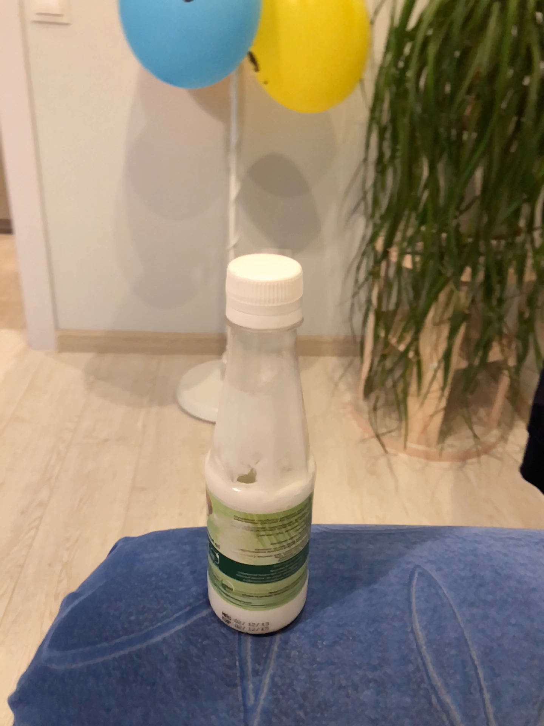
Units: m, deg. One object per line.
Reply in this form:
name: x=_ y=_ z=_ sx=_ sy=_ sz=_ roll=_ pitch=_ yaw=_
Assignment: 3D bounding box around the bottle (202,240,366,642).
bottle: x=-0.001 y=0.041 z=0.273 sx=0.054 sy=0.183 sz=0.051 roll=2 pitch=29 yaw=-1
